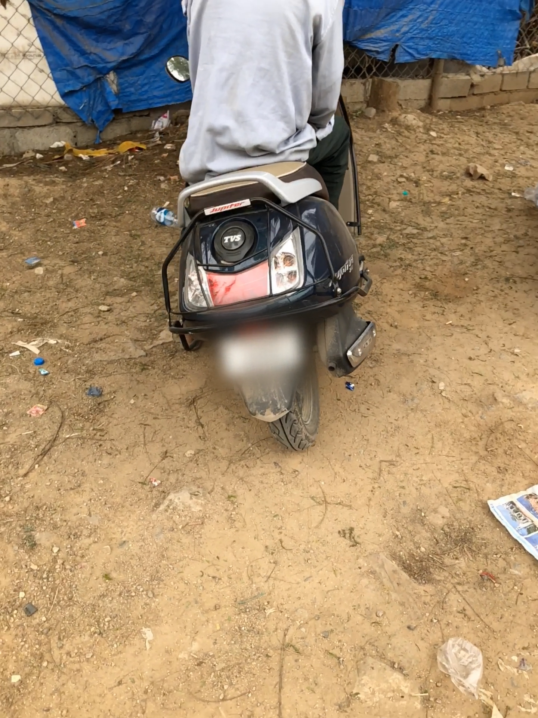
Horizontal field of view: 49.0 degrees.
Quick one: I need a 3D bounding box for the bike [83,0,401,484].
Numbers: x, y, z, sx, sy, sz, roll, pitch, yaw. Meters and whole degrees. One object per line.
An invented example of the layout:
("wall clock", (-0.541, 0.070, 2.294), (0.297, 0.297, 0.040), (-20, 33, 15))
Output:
("bike", (0.001, -0.641, 1.918), (0.634, 1.119, 1.351), (5, 40, 5))
